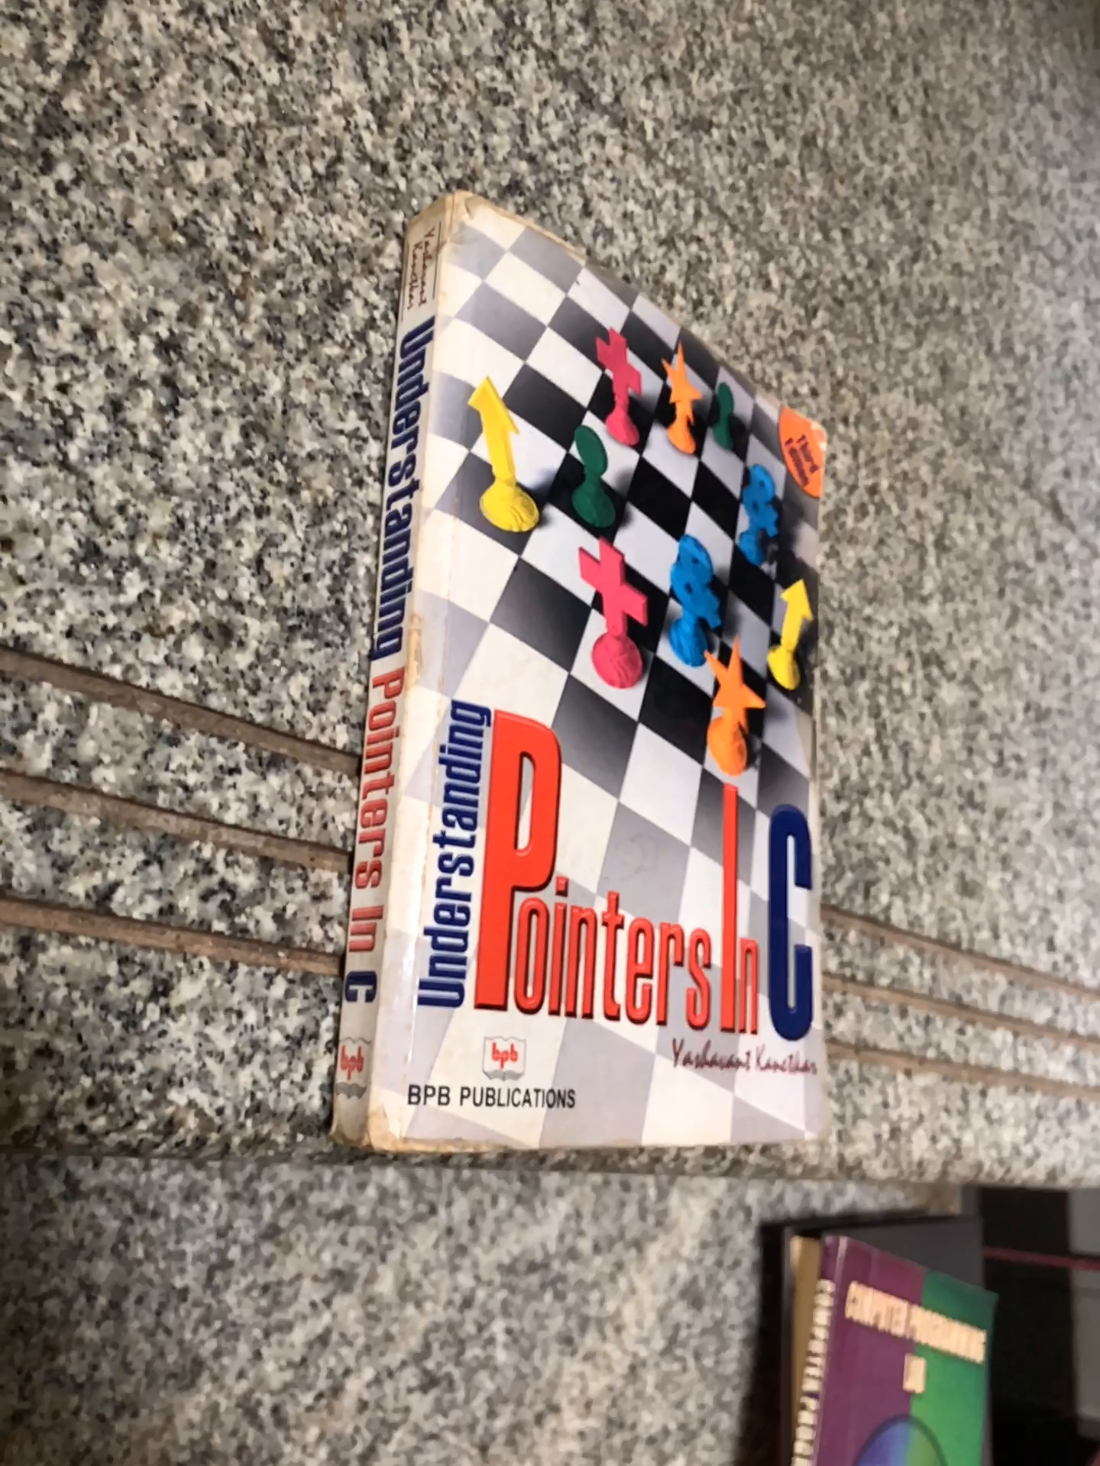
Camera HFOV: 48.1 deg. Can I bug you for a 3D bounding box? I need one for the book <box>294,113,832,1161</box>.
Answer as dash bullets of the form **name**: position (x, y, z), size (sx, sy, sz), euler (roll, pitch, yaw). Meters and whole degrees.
- **book**: position (0.016, -0.014, 0.302), size (0.141, 0.030, 0.220), euler (17, 69, -43)
